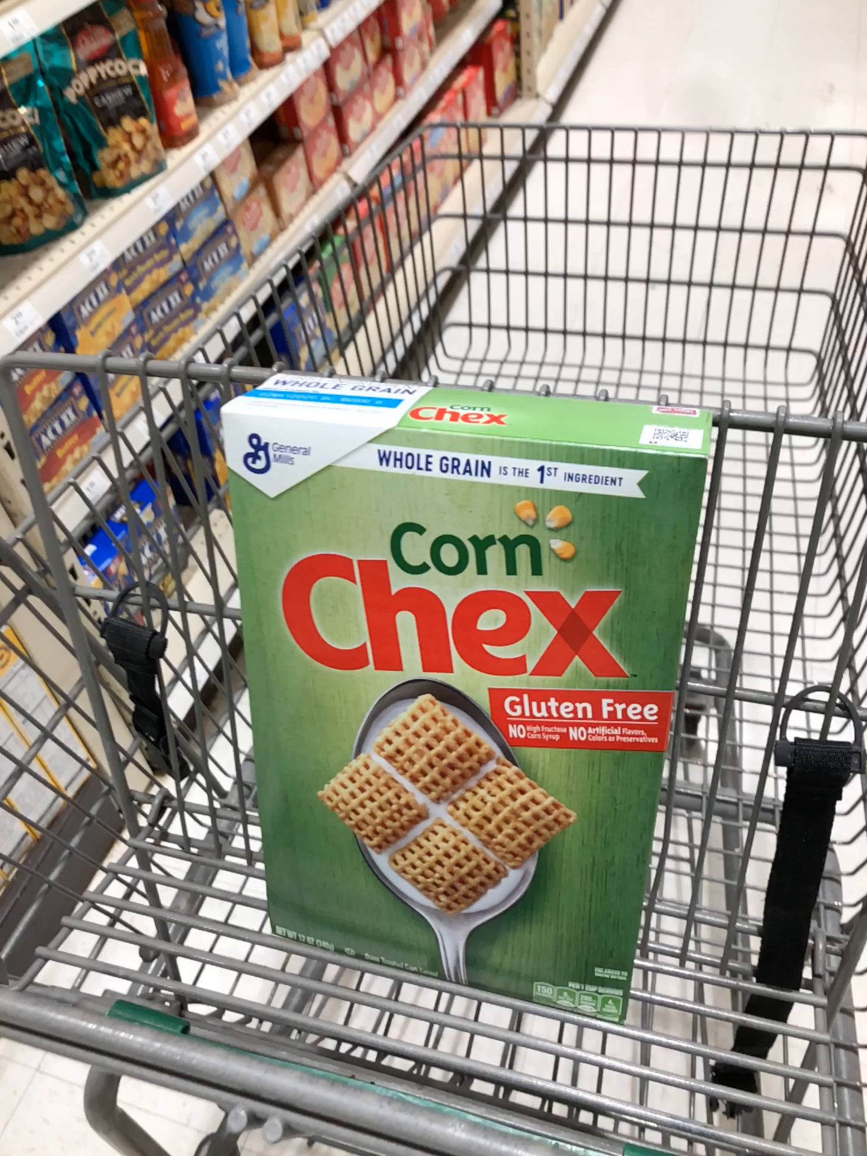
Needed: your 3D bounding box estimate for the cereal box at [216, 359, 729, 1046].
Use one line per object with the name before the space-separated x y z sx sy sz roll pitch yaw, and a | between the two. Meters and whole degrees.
cereal box | 0.014 0.065 0.458 0.200 0.310 0.060 8 27 16
